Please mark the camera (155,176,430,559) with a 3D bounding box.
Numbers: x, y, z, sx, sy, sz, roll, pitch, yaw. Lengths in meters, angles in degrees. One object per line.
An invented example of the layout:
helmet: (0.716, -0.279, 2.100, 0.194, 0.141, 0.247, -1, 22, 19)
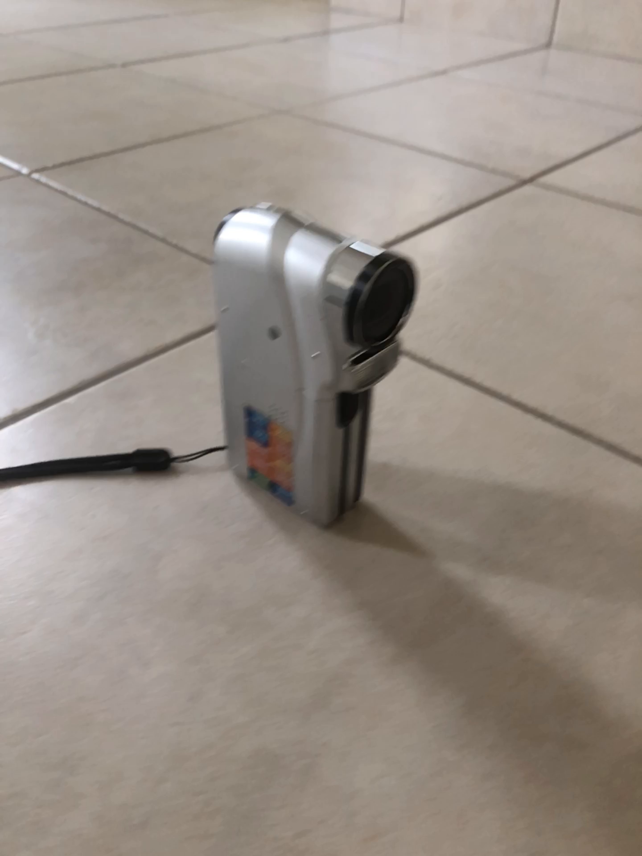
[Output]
camera: (-0.011, -0.022, 0.257, 0.080, 0.109, 0.040, 27, 44, 30)
